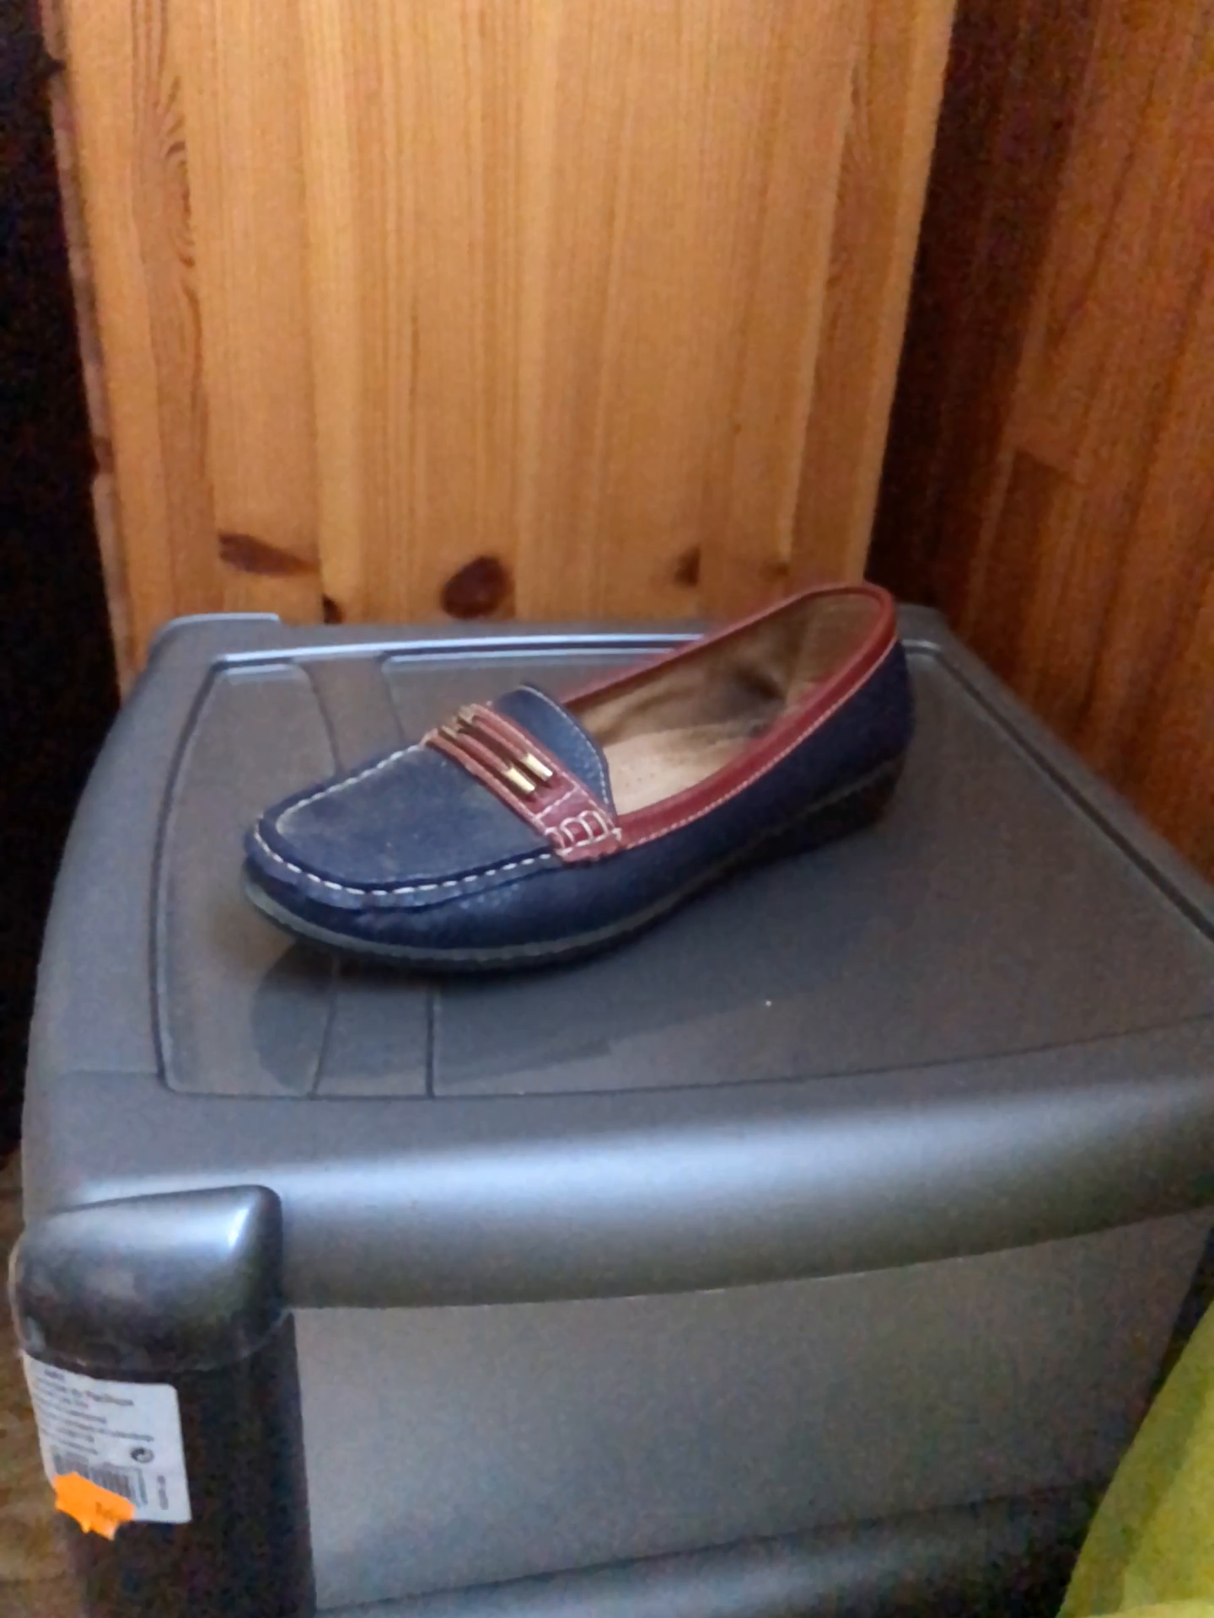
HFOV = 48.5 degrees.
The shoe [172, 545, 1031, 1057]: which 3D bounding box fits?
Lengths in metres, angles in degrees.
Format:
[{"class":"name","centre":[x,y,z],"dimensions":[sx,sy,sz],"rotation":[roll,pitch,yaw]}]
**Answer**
[{"class":"shoe","centre":[0.008,-0.019,0.438],"dimensions":[0.261,0.070,0.100],"rotation":[-17,36,-33]}]
